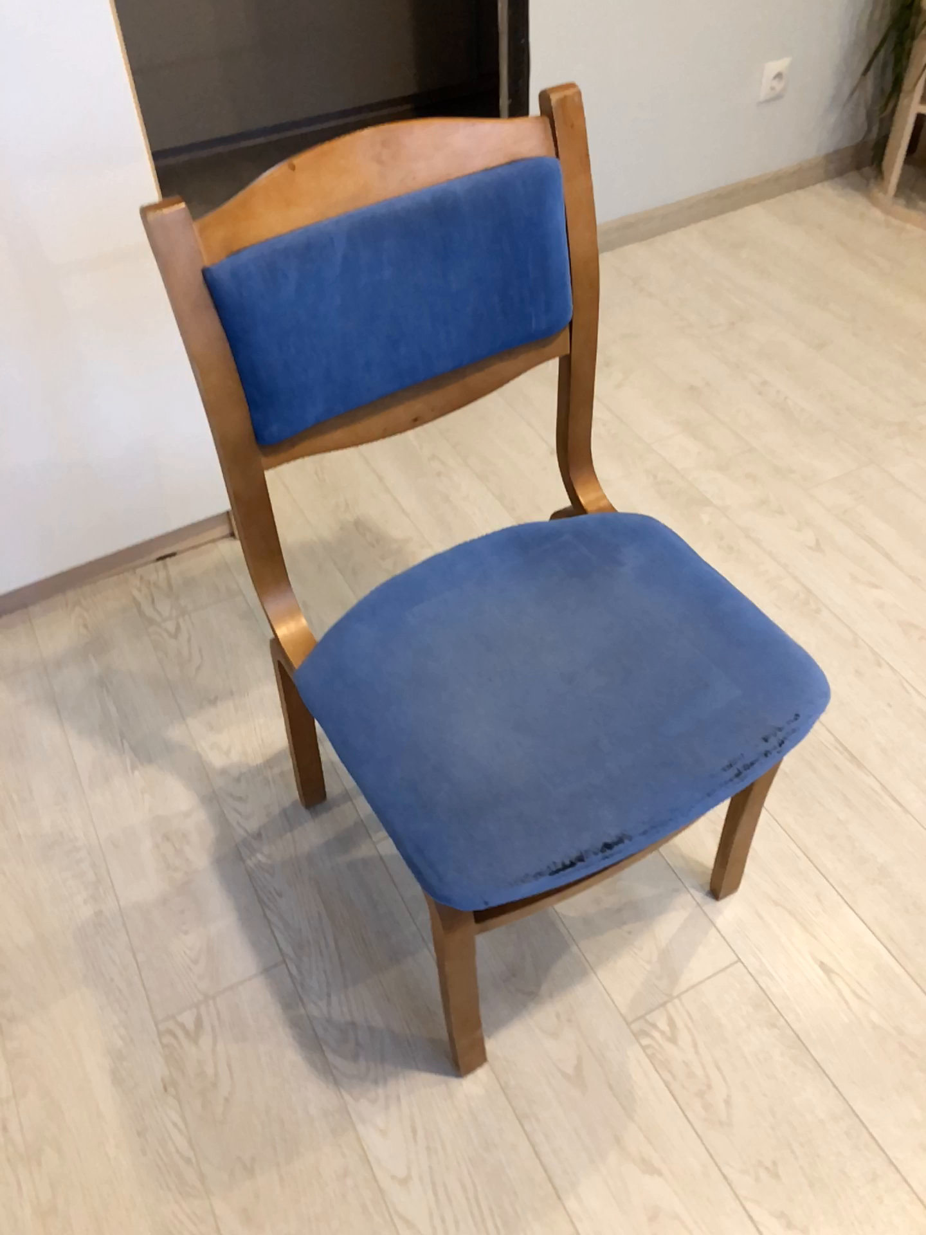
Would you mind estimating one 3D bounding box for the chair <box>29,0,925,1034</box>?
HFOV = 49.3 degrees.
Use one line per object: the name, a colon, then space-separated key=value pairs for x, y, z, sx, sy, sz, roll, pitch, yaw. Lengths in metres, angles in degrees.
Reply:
chair: x=0.004 y=-0.049 z=0.999 sx=0.451 sy=0.805 sz=0.472 roll=-25 pitch=53 yaw=-17
